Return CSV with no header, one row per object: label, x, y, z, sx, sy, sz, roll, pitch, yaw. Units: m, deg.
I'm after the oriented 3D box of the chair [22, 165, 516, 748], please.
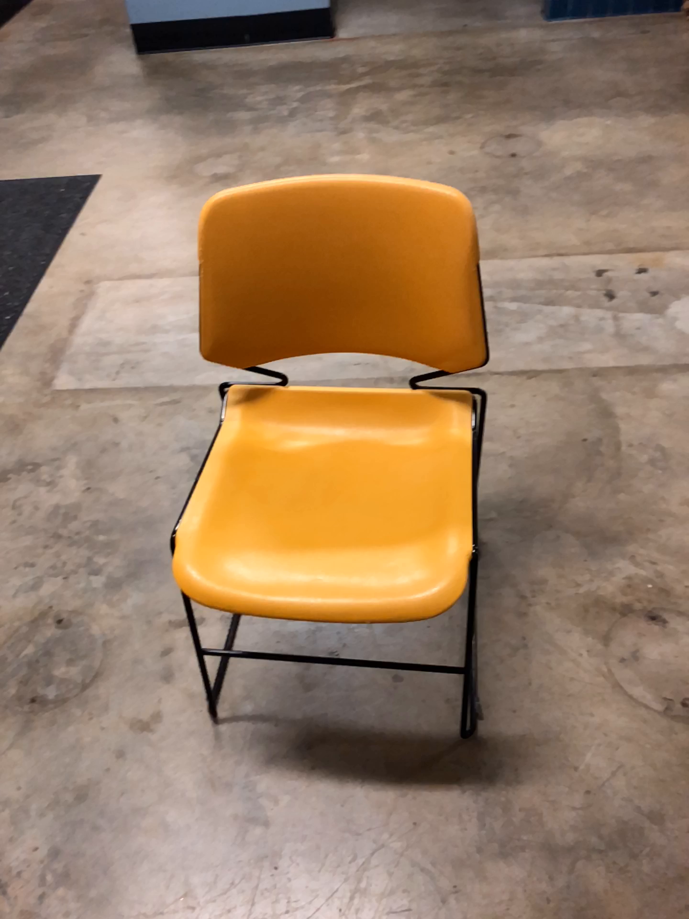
chair,-0.027,0.025,1.254,0.529,0.796,0.526,1,45,8
